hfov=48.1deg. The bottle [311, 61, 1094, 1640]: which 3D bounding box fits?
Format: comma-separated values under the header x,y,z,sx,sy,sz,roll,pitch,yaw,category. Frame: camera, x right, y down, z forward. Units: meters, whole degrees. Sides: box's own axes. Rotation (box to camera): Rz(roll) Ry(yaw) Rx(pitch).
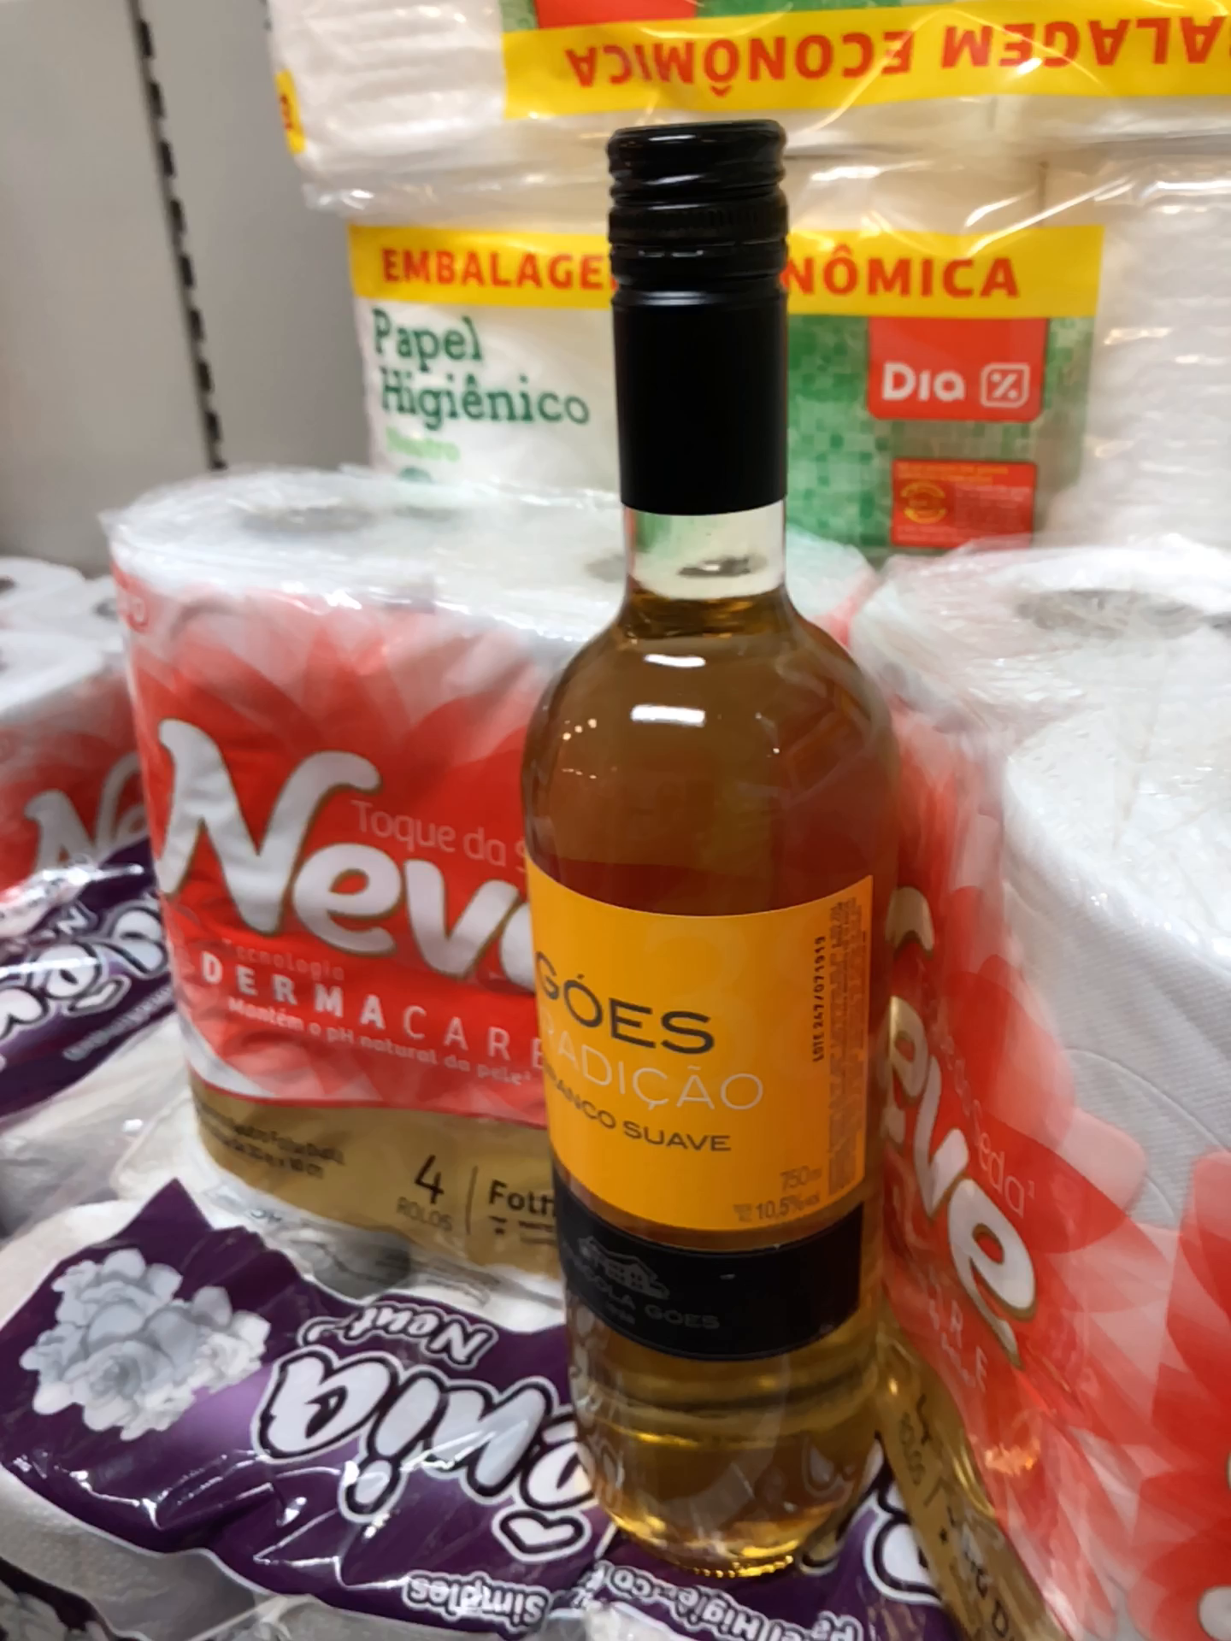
x,y,z,sx,sy,sz,roll,pitch,yaw,category
0.024,0.026,0.290,0.090,0.318,0.090,-4,24,2,bottle
